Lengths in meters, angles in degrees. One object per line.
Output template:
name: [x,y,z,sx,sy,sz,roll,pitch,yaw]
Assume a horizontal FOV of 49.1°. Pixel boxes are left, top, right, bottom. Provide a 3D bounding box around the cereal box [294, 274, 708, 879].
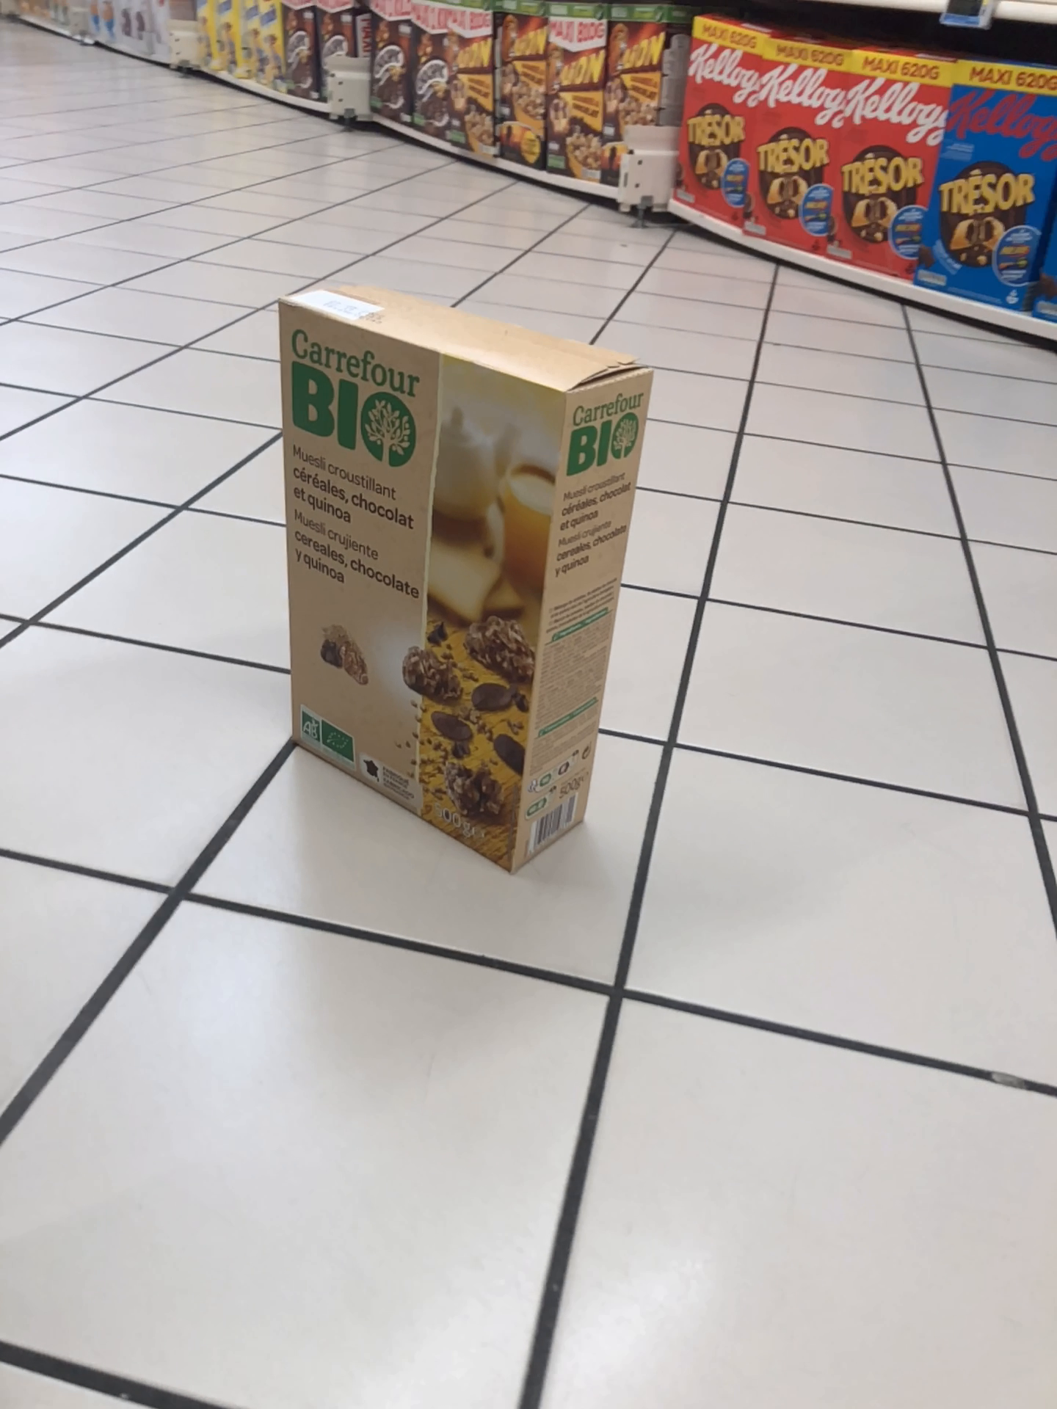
cereal box: [-0.026,-0.063,0.543,0.170,0.229,0.070,26,35,31]
